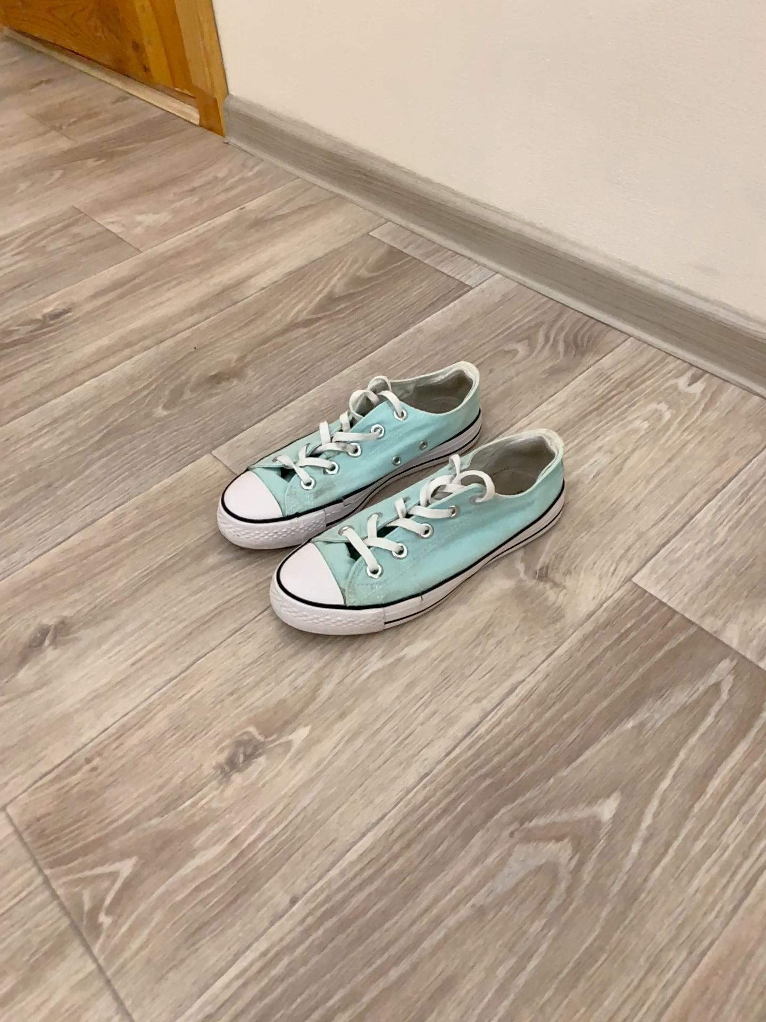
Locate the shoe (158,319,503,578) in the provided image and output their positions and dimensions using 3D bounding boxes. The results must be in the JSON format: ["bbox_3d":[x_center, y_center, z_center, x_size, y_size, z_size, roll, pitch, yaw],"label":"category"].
[{"bbox_3d":[-0.034,-0.057,0.612,0.250,0.060,0.093,-30,52,-21],"label":"shoe"}]

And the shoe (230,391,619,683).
[{"bbox_3d":[0.032,0.010,0.557,0.250,0.060,0.100,-25,51,-17],"label":"shoe"}]
